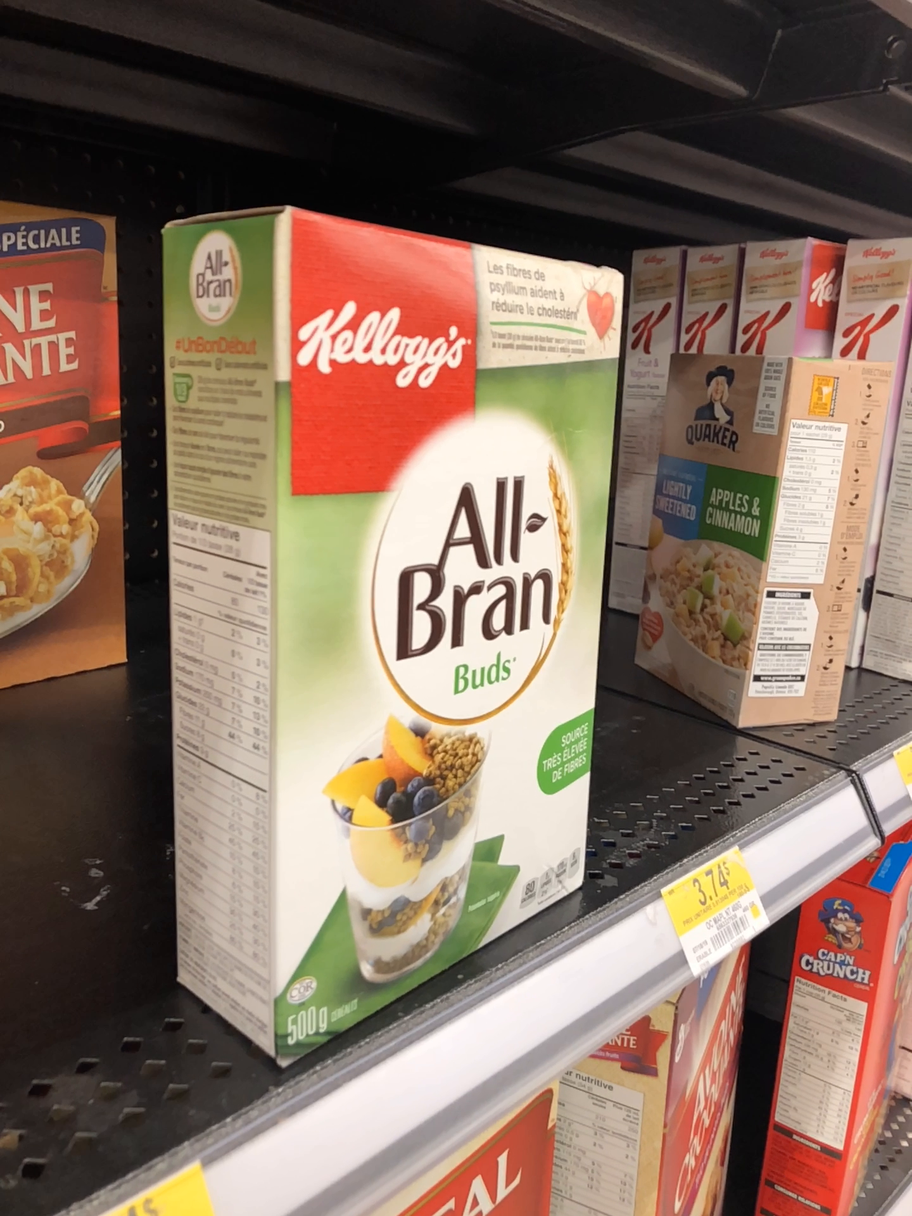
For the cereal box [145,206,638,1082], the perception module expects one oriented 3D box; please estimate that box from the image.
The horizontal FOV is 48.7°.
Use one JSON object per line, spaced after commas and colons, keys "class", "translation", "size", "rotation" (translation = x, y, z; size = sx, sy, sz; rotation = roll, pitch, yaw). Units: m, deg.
{"class": "cereal box", "translation": [-0.015, 0.003, 0.314], "size": [0.050, 0.219, 0.150], "rotation": [14, 17, 39]}
